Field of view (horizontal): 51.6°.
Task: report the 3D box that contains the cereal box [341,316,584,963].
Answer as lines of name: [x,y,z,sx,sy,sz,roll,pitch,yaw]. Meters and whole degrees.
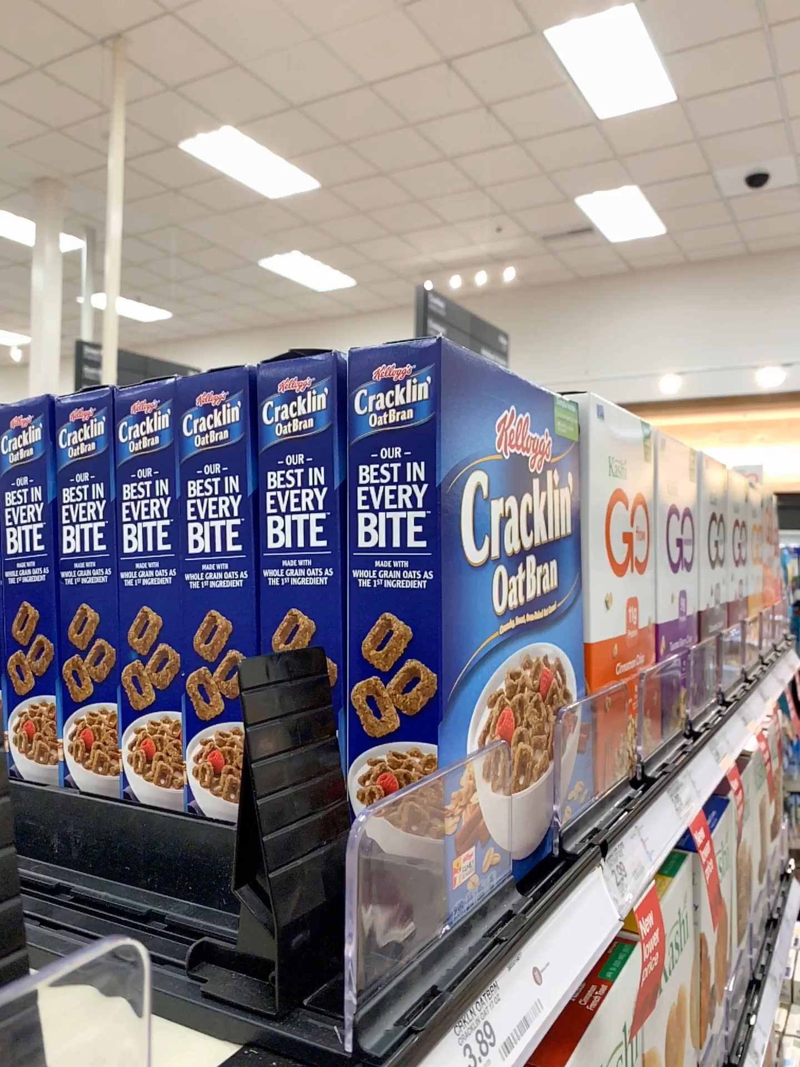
cereal box: [0.041,0.040,0.404,0.050,0.240,0.190,-1,-2,26]
